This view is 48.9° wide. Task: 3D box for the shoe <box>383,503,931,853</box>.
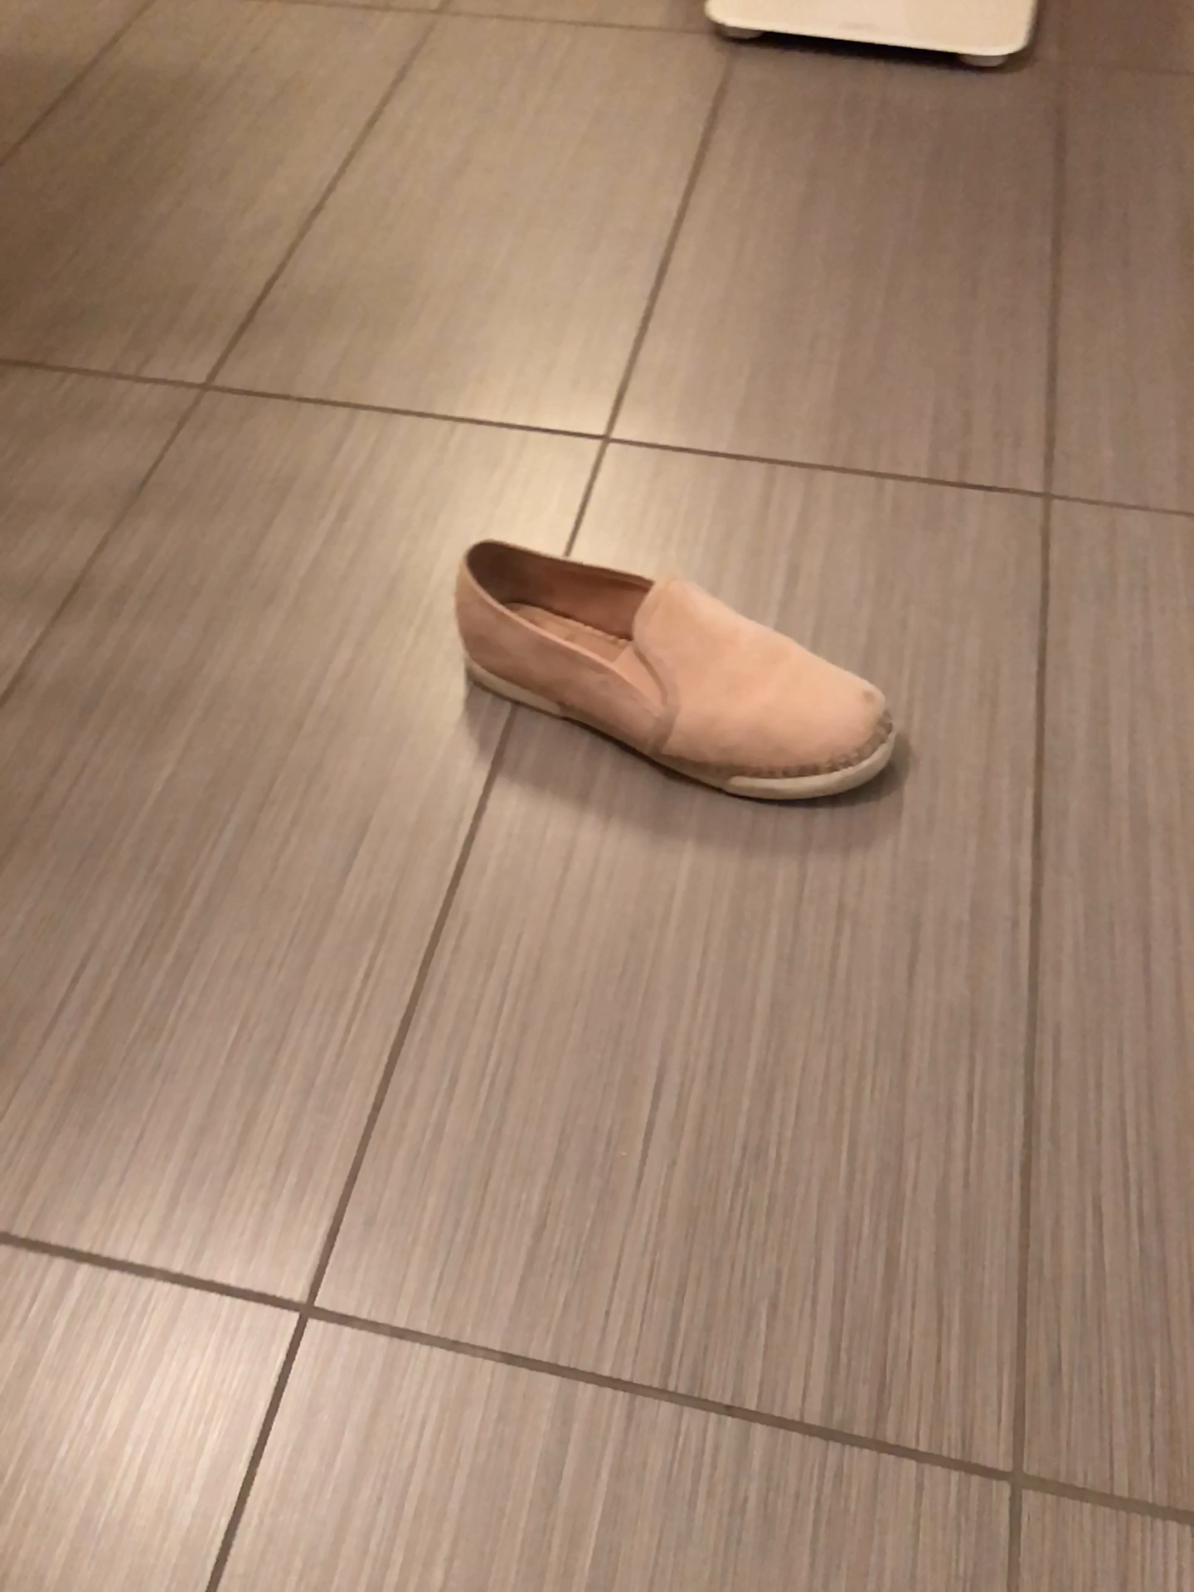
[{"bbox_3d":[0.033,-0.070,0.727,0.270,0.070,0.111,17,56,14],"label":"shoe"}]
